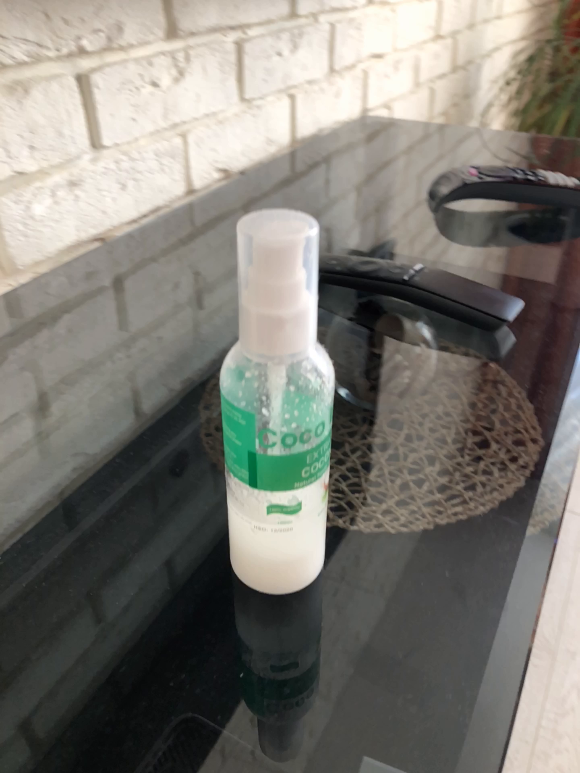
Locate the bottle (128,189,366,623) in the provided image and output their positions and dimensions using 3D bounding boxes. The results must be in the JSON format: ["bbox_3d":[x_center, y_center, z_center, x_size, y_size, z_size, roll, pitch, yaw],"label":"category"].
[{"bbox_3d":[-0.011,0.010,0.228,0.050,0.139,0.050,-1,33,0],"label":"bottle"}]
